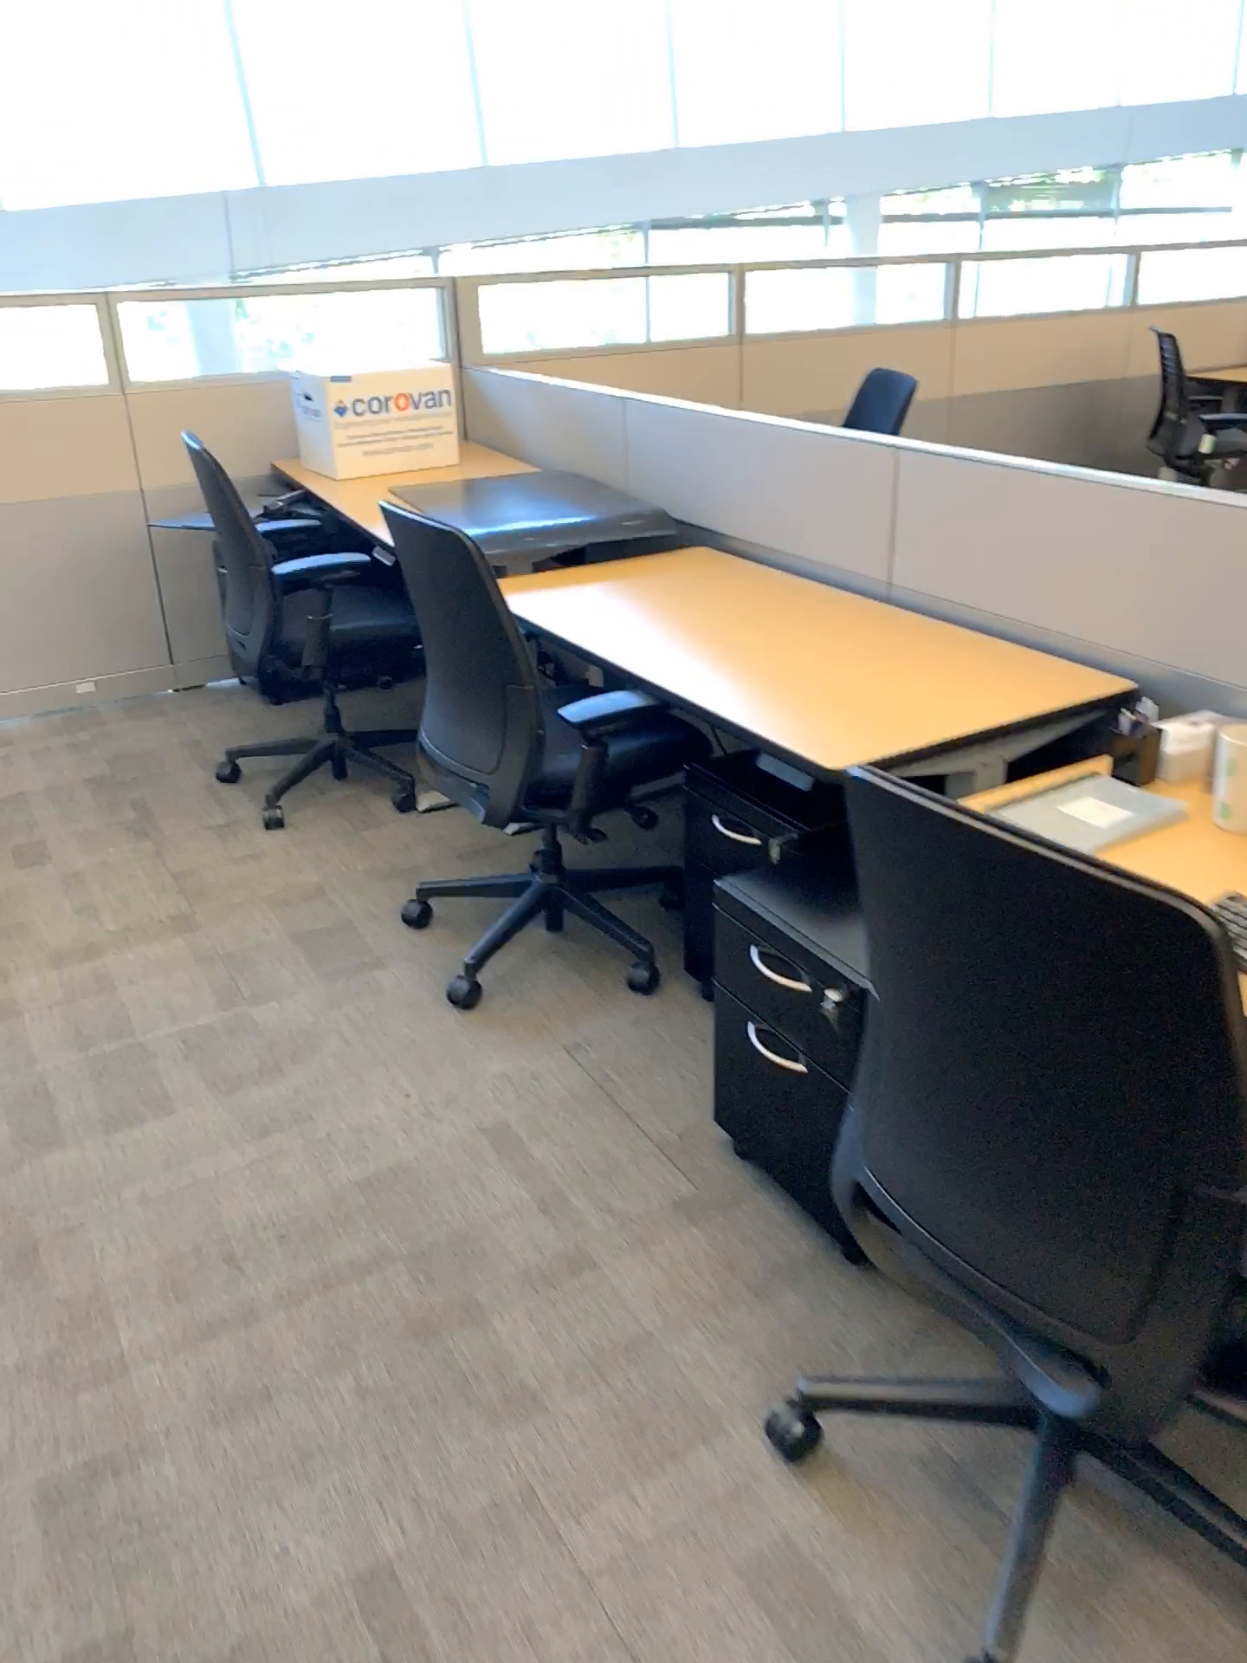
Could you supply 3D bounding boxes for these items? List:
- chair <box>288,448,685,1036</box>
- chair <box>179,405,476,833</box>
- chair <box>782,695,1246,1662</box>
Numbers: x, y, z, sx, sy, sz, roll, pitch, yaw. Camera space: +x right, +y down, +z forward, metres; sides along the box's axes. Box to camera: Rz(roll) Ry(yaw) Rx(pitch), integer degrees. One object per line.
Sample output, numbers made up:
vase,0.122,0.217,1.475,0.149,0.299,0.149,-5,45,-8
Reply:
chair,-0.262,-0.214,2.628,0.580,0.994,0.523,-15,28,-27
chair,-0.814,-0.611,3.542,0.600,0.994,0.563,-11,27,-19
chair,0.536,0.441,1.409,0.460,0.994,0.543,-15,28,-26
